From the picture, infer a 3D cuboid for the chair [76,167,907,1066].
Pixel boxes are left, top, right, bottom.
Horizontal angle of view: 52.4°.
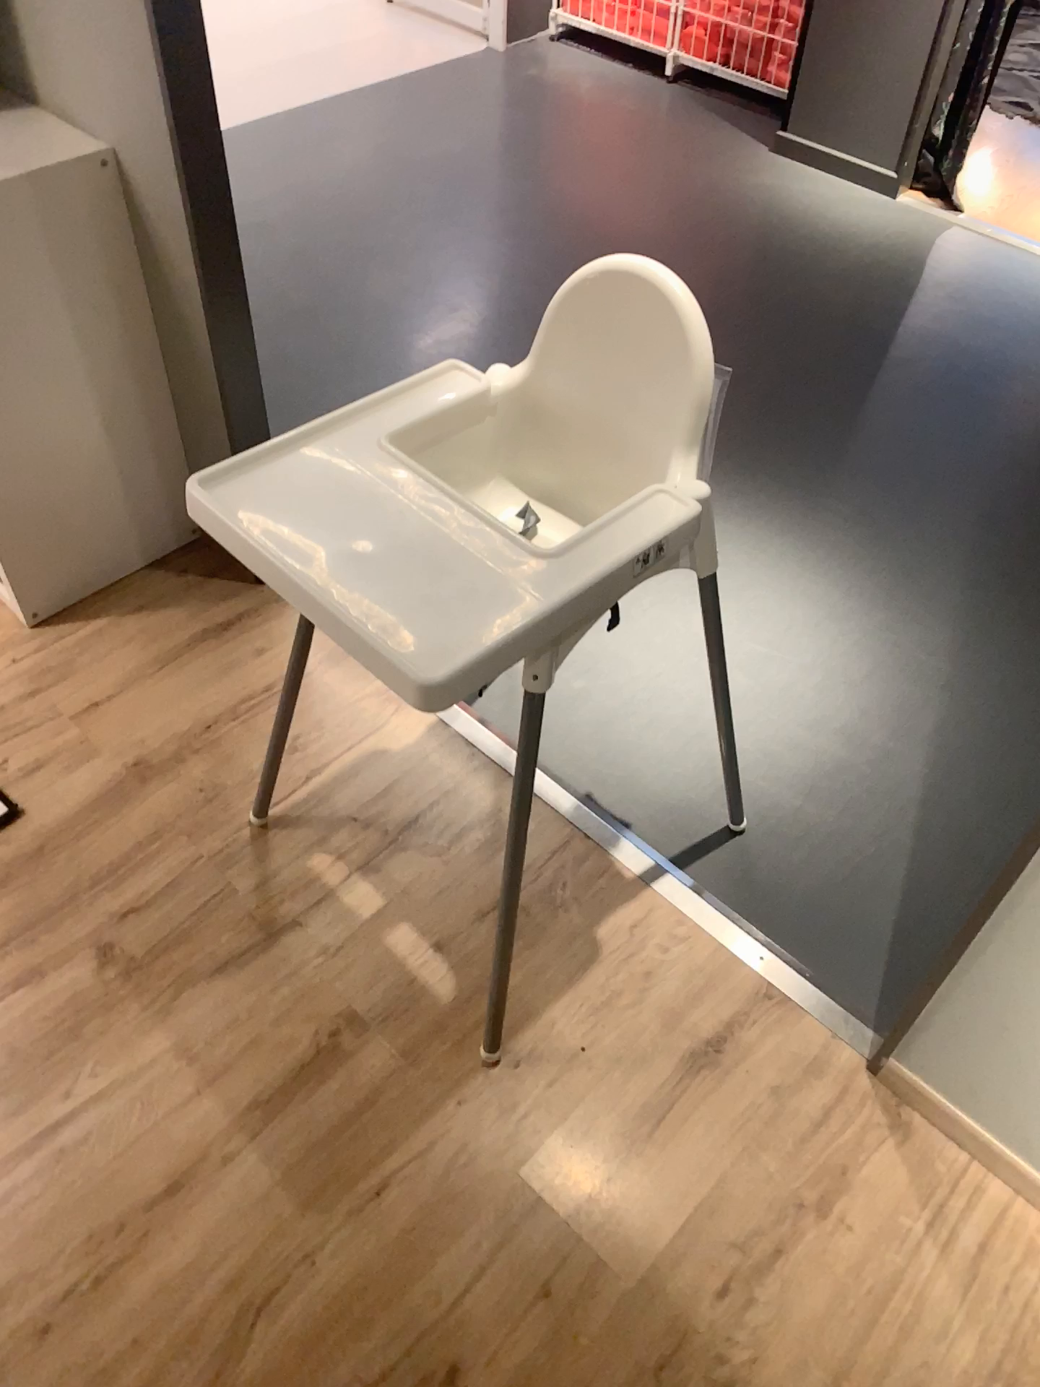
[{"bbox_3d":[-0.033,-0.093,1.367,0.571,0.797,0.621,37,56,26],"label":"chair"}]
